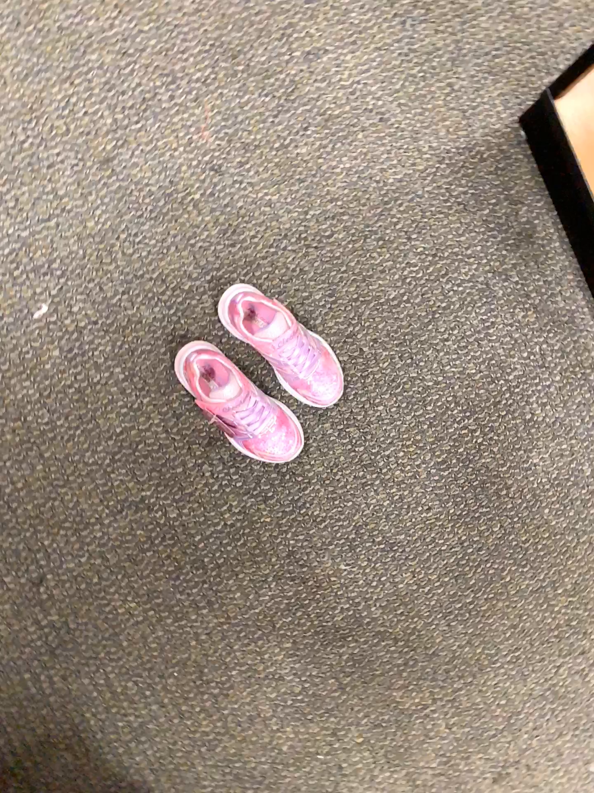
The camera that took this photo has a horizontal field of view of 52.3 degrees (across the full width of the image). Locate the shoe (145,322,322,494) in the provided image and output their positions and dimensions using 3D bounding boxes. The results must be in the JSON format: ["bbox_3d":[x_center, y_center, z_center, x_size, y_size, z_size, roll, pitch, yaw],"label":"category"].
[{"bbox_3d":[-0.078,0.014,0.759,0.200,0.110,0.086,43,85,-4],"label":"shoe"}]

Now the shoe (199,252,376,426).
[{"bbox_3d":[-0.015,-0.065,0.752,0.200,0.110,0.086,43,85,-4],"label":"shoe"}]
